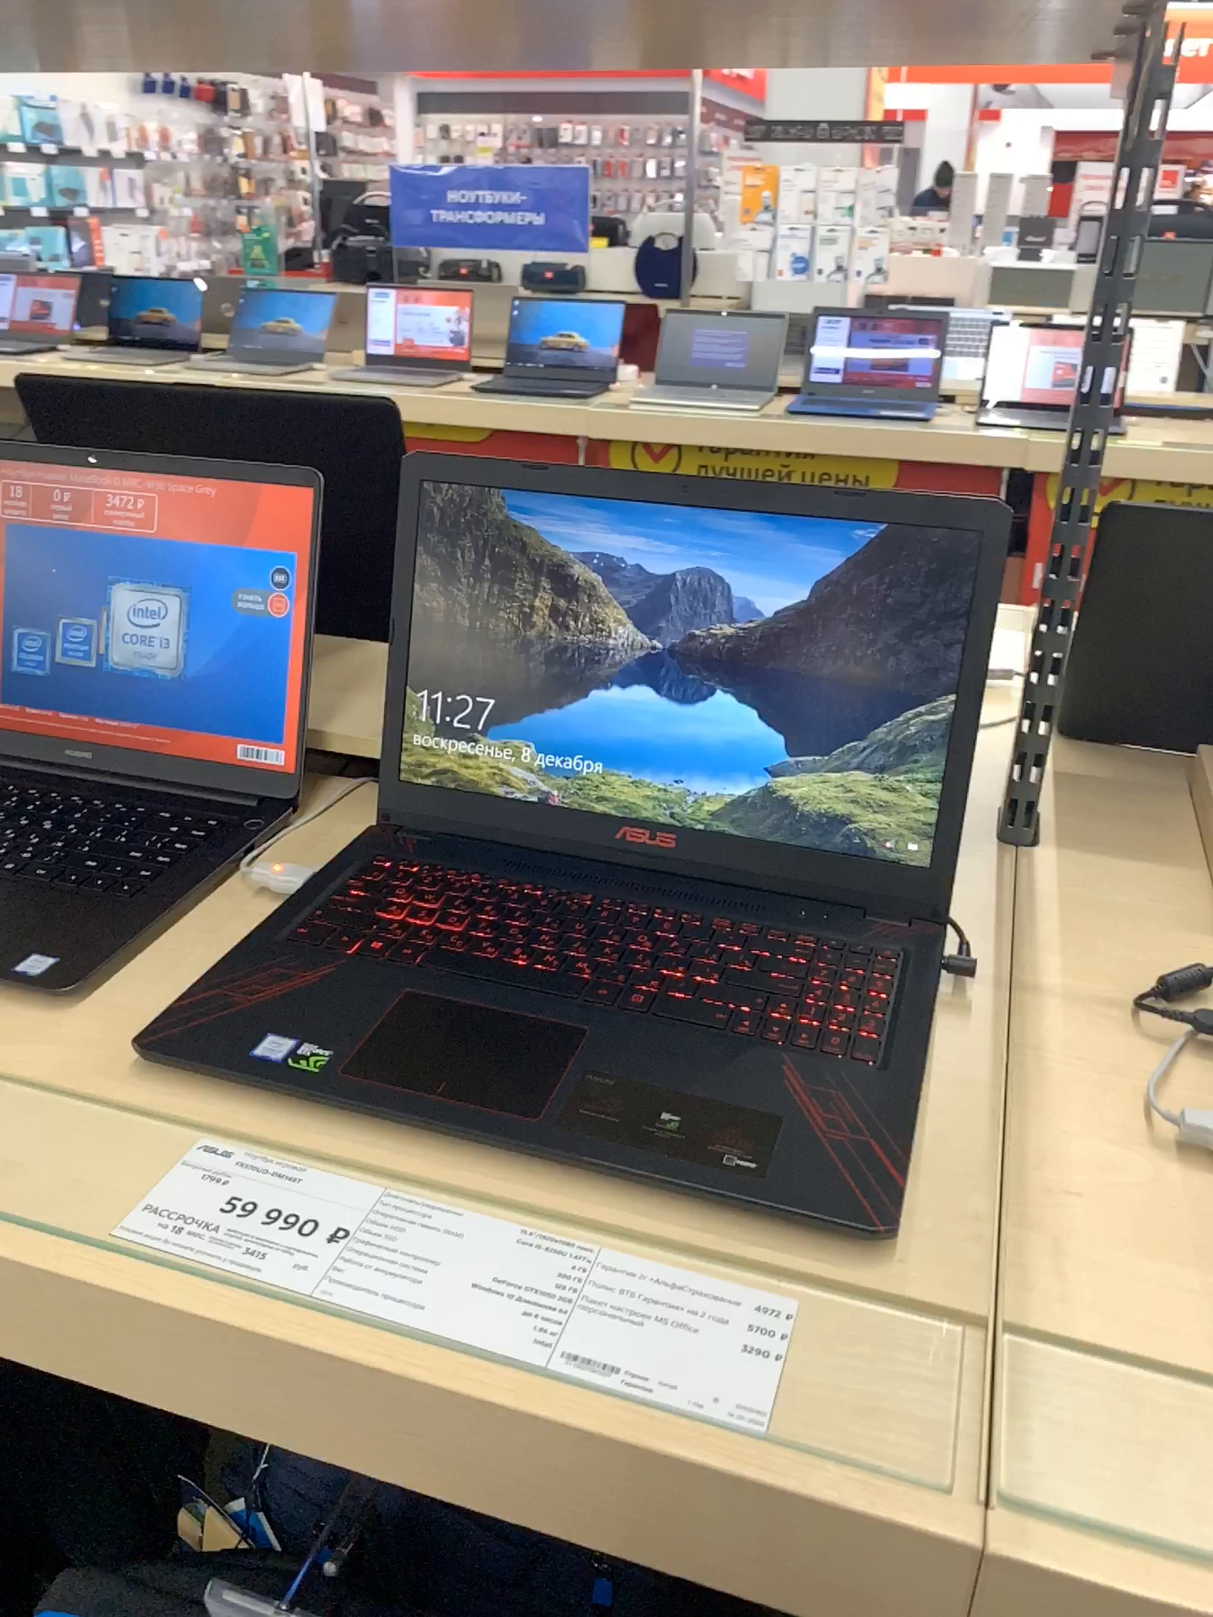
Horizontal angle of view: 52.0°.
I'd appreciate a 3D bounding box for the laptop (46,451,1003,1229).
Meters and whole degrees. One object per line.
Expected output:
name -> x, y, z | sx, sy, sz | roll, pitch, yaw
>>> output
laptop -> -0.008, -0.027, 0.641 | 0.366, 0.229, 0.318 | 9, 27, 16
